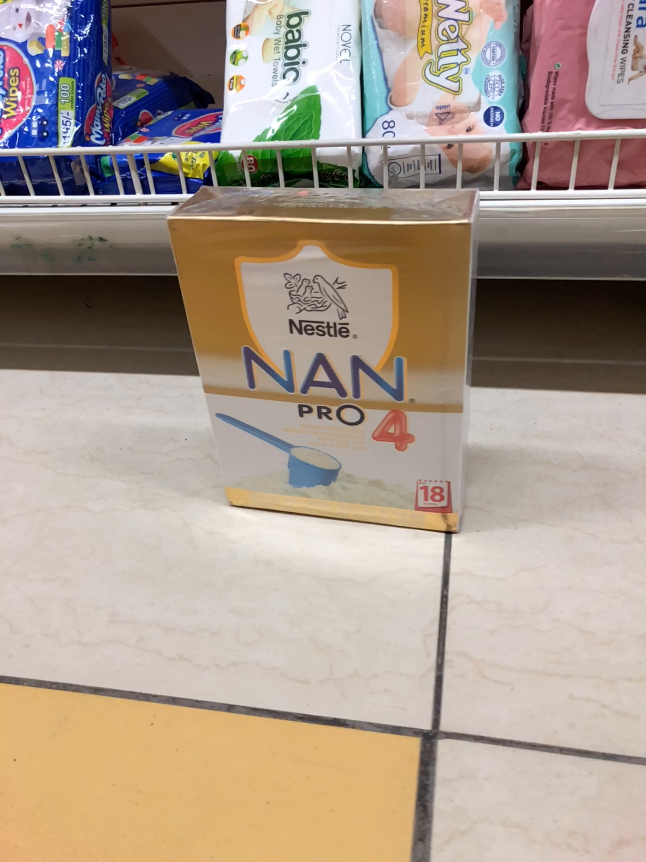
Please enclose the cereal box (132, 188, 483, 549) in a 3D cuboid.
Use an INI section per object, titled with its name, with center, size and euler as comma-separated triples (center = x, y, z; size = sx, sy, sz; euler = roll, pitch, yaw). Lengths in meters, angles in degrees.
[cereal box]
center = -0.001, -0.030, 0.393
size = 0.160, 0.189, 0.050
euler = 5, 36, 13
